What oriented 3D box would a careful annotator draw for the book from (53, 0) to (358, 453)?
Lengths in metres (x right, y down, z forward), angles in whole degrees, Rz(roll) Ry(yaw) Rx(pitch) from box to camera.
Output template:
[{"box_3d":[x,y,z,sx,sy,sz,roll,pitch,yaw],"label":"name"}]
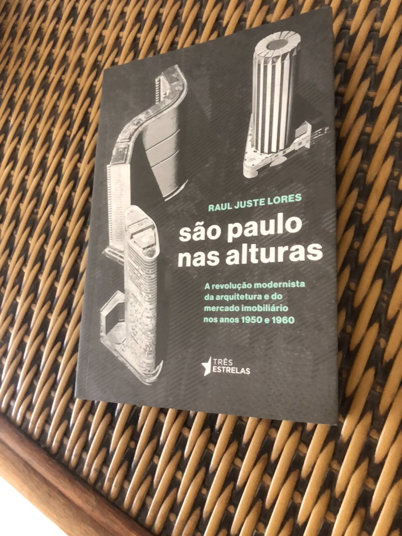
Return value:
[{"box_3d":[0.001,-0.028,0.256,0.160,0.030,0.221,1,82,24],"label":"book"}]
